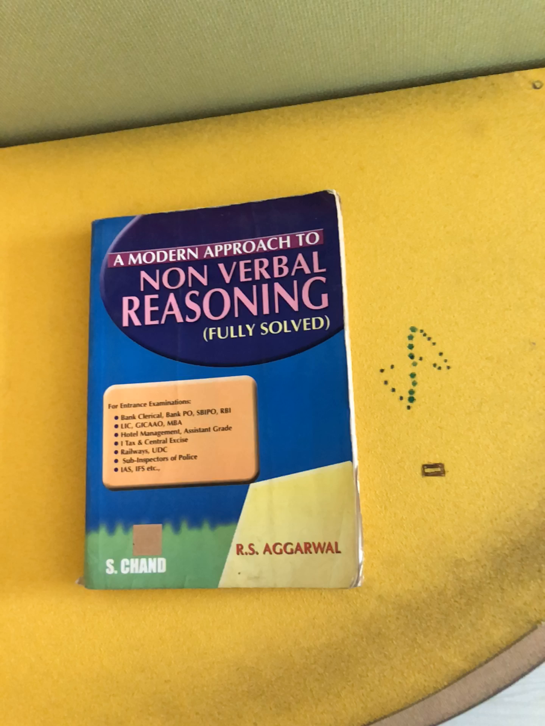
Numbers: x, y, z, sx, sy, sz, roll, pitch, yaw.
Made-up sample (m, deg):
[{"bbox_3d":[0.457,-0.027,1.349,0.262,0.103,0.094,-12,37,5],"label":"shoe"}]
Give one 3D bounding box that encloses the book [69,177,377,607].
[{"bbox_3d":[-0.032,0.017,0.368,0.170,0.040,0.240,-5,78,9],"label":"book"}]
